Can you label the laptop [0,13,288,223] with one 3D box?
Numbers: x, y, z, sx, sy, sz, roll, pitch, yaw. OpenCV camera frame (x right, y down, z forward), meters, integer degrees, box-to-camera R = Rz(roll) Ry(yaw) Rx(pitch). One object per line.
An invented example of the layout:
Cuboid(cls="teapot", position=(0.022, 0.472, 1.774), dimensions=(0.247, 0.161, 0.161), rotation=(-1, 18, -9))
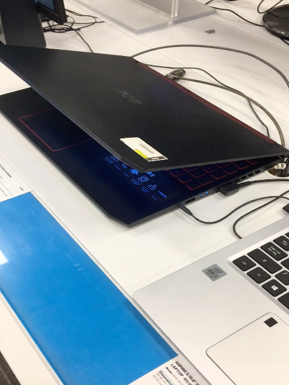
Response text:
Cuboid(cls="laptop", position=(-0.038, -0.140, 0.568), dimensions=(0.265, 0.100, 0.359), rotation=(-28, 53, -23))
